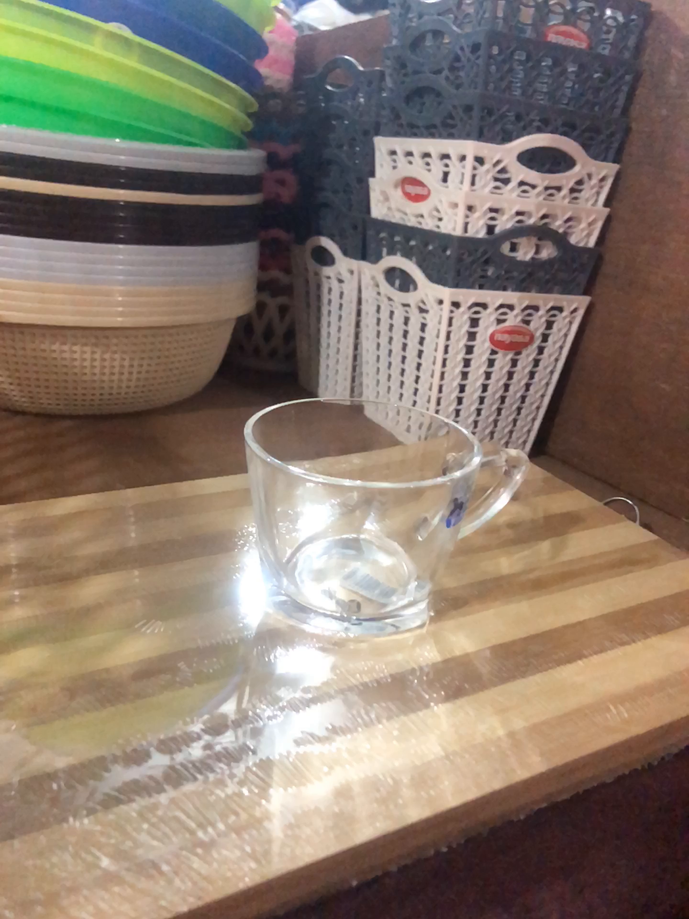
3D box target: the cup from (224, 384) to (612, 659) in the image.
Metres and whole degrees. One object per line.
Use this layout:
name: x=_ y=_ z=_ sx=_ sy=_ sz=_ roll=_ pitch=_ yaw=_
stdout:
cup: x=0.021 y=0.015 z=0.270 sx=0.110 sy=0.060 sz=0.070 roll=-5 pitch=24 yaw=-23
